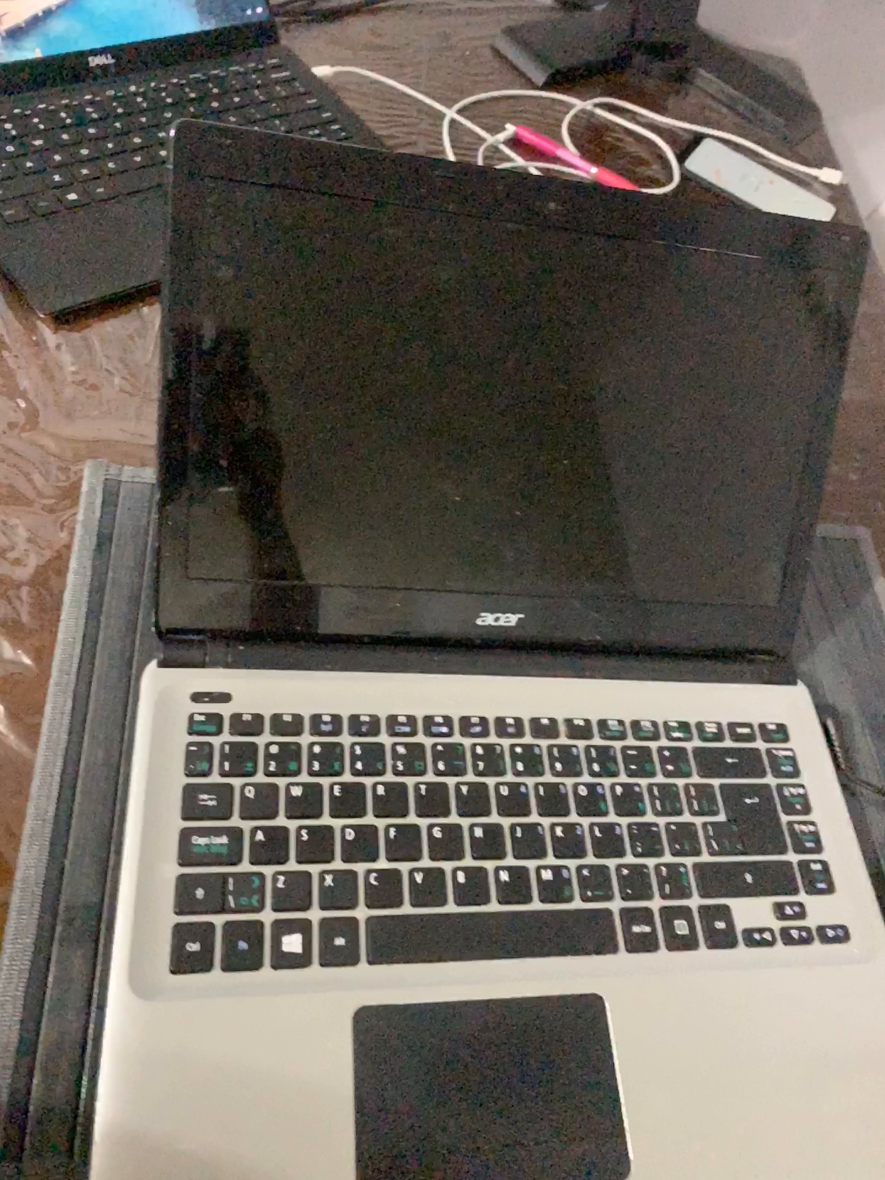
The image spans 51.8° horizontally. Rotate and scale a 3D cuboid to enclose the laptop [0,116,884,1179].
[{"bbox_3d":[0.046,0.025,0.359,0.330,0.146,0.387,3,58,-15],"label":"laptop"}]
